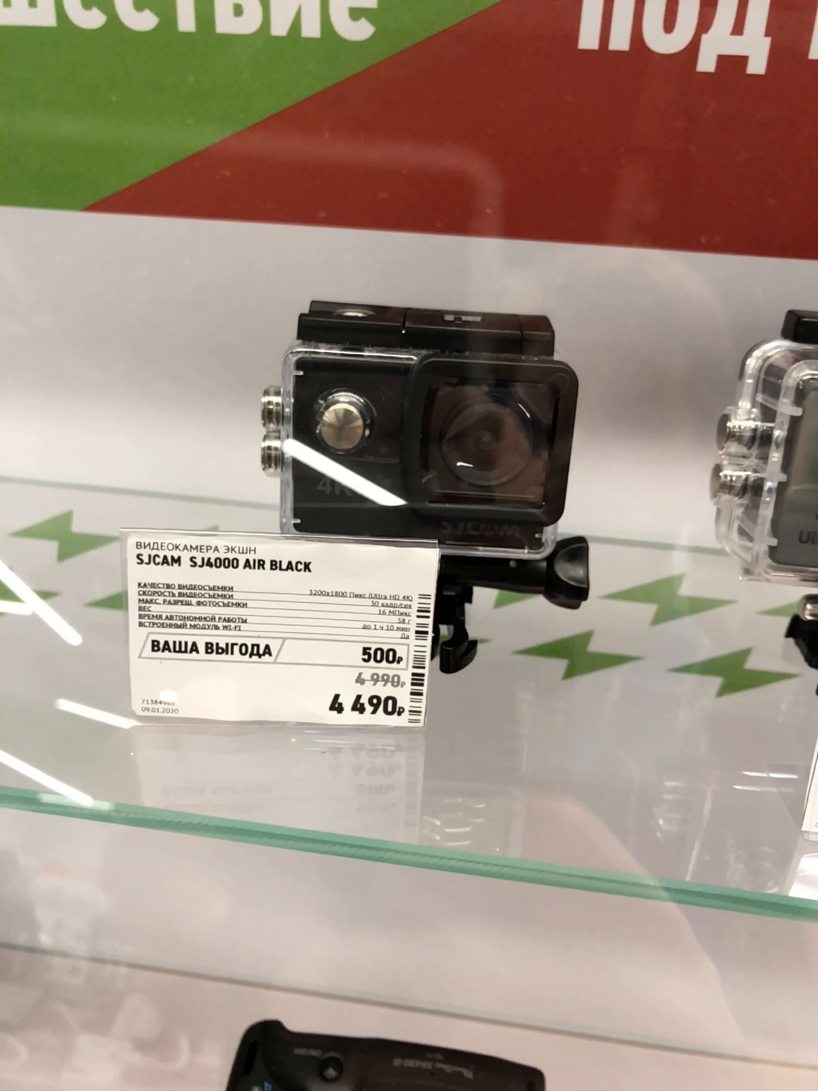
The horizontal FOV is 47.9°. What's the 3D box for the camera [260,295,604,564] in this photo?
[{"bbox_3d":[0.004,-0.029,0.221,0.074,0.056,0.033,3,17,0],"label":"camera"}]
